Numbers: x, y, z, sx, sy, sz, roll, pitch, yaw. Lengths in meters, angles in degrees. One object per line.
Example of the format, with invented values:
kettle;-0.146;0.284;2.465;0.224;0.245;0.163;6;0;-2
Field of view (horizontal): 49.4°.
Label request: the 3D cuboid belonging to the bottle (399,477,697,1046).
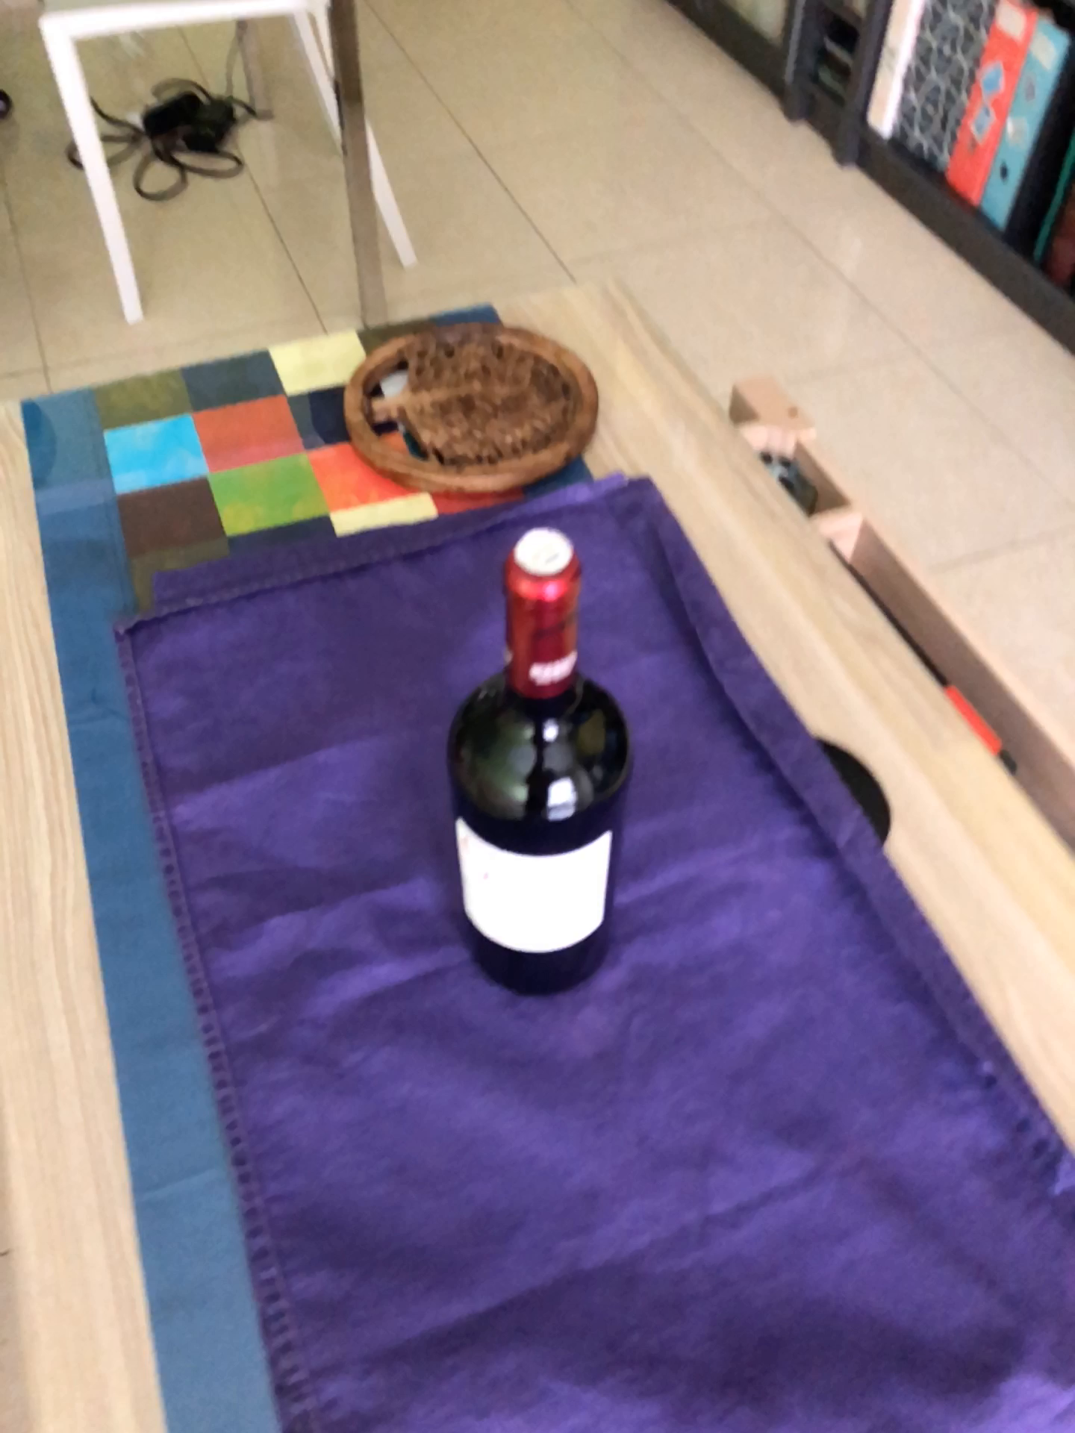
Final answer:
bottle;-0.001;0.037;0.499;0.090;0.269;0.090;0;50;0
